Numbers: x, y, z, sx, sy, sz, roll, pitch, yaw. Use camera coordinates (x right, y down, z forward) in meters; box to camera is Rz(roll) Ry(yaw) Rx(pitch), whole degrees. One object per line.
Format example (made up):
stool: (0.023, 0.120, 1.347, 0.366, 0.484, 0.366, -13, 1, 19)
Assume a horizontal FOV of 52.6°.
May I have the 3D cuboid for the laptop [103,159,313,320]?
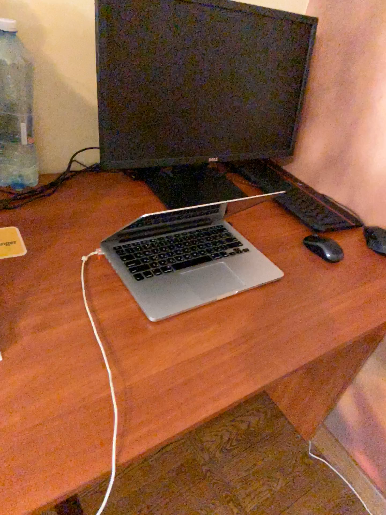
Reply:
laptop: (0.022, -0.055, 0.717, 0.303, 0.150, 0.208, -14, 44, -34)
